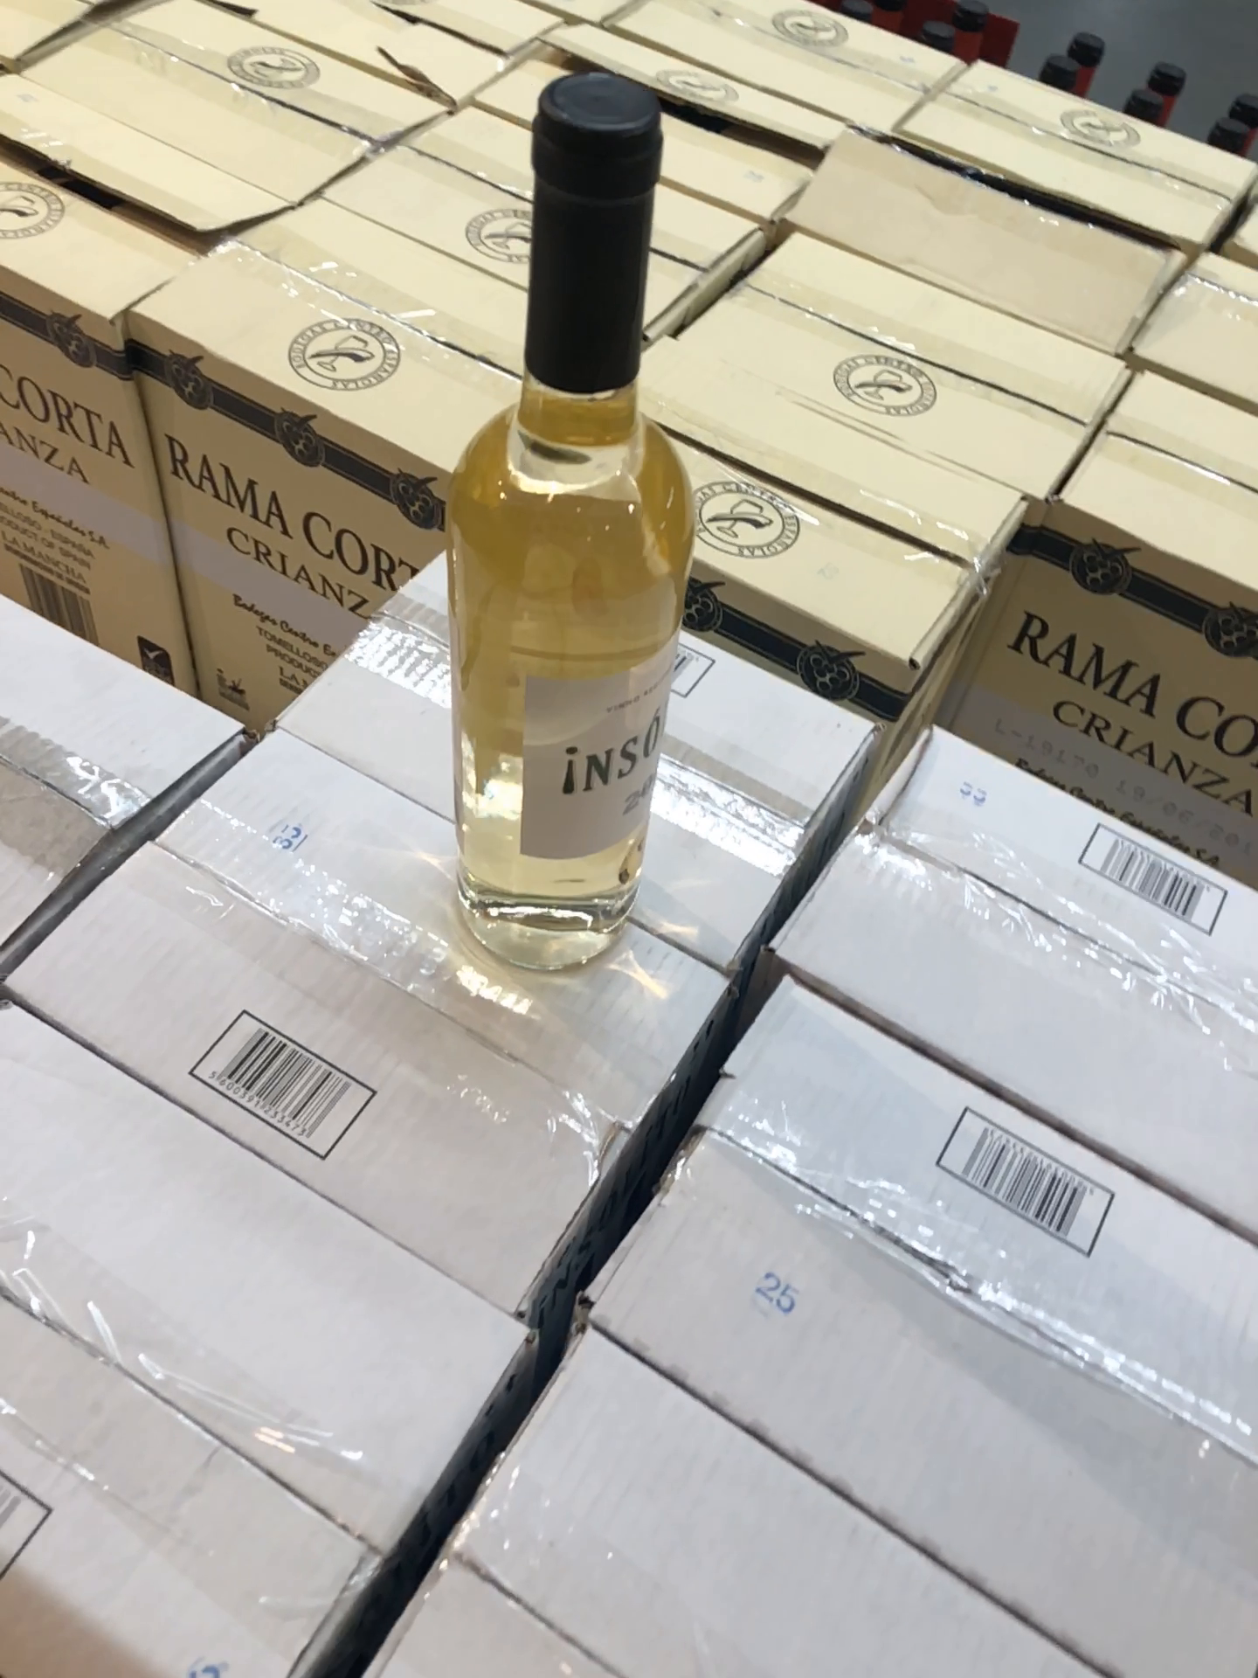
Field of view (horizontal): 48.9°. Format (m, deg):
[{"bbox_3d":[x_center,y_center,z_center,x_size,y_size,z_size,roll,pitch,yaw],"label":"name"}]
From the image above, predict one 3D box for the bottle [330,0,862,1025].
[{"bbox_3d":[-0.021,-0.072,0.425,0.090,0.298,0.091,4,52,-5],"label":"bottle"}]
